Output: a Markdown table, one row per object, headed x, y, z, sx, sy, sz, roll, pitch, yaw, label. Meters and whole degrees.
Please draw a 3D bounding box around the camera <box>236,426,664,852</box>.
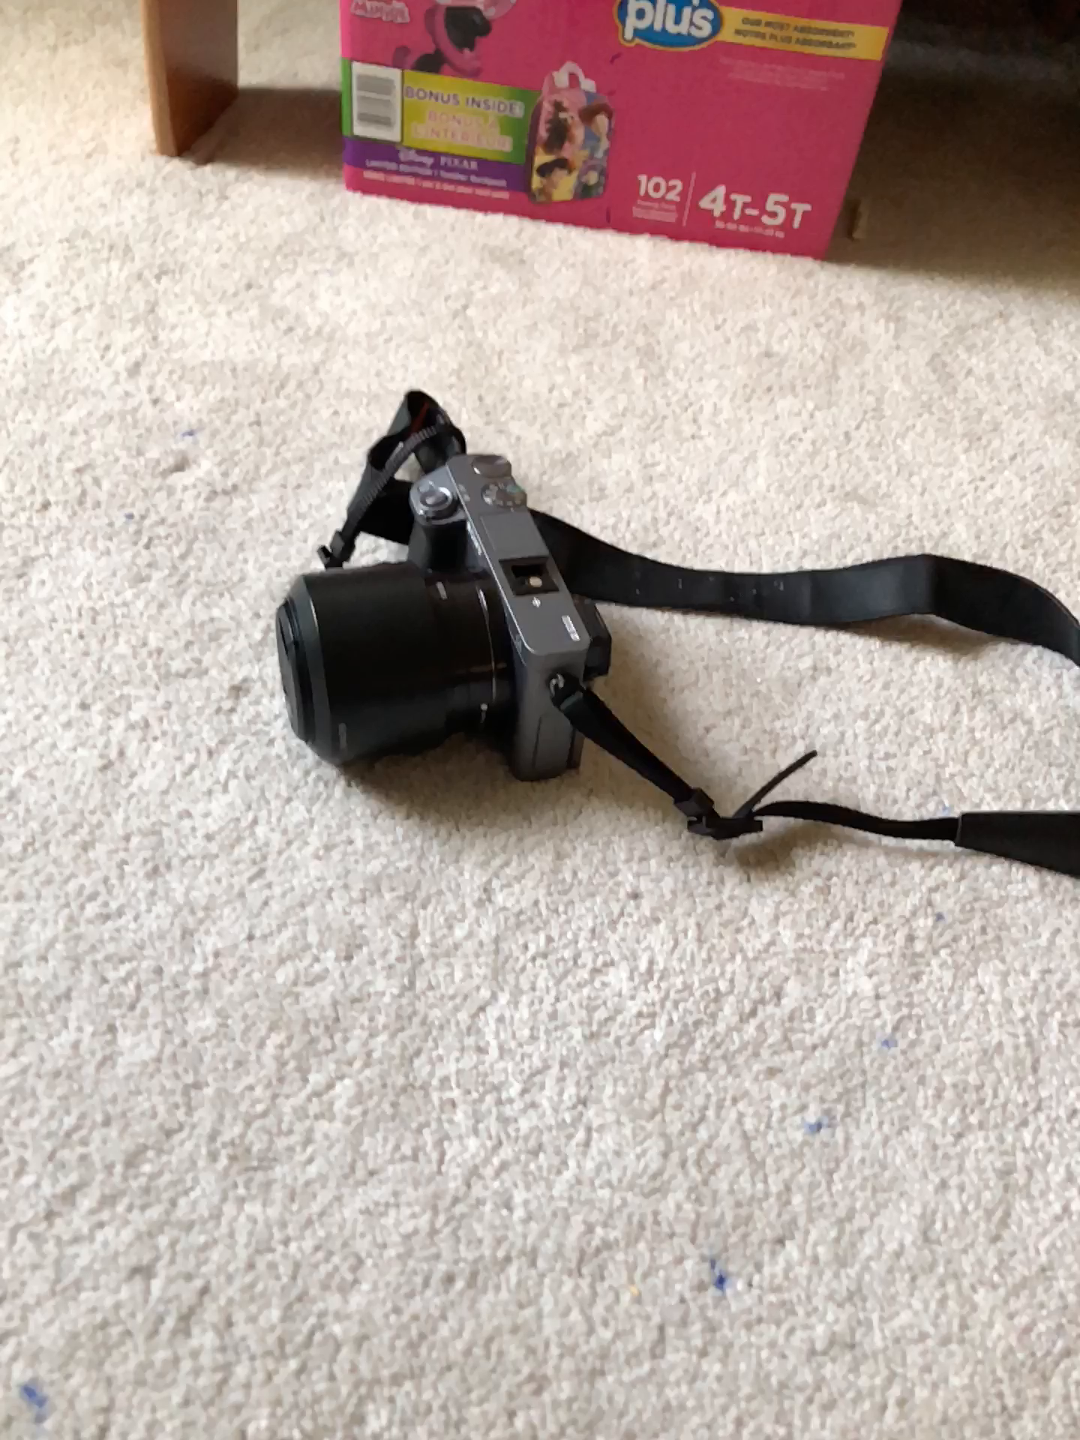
| x | y | z | sx | sy | sz | roll | pitch | yaw | label |
| --- | --- | --- | --- | --- | --- | --- | --- | --- | --- |
| -0.040 | -0.036 | 0.445 | 0.120 | 0.080 | 0.131 | -9 | 47 | -18 | camera |
